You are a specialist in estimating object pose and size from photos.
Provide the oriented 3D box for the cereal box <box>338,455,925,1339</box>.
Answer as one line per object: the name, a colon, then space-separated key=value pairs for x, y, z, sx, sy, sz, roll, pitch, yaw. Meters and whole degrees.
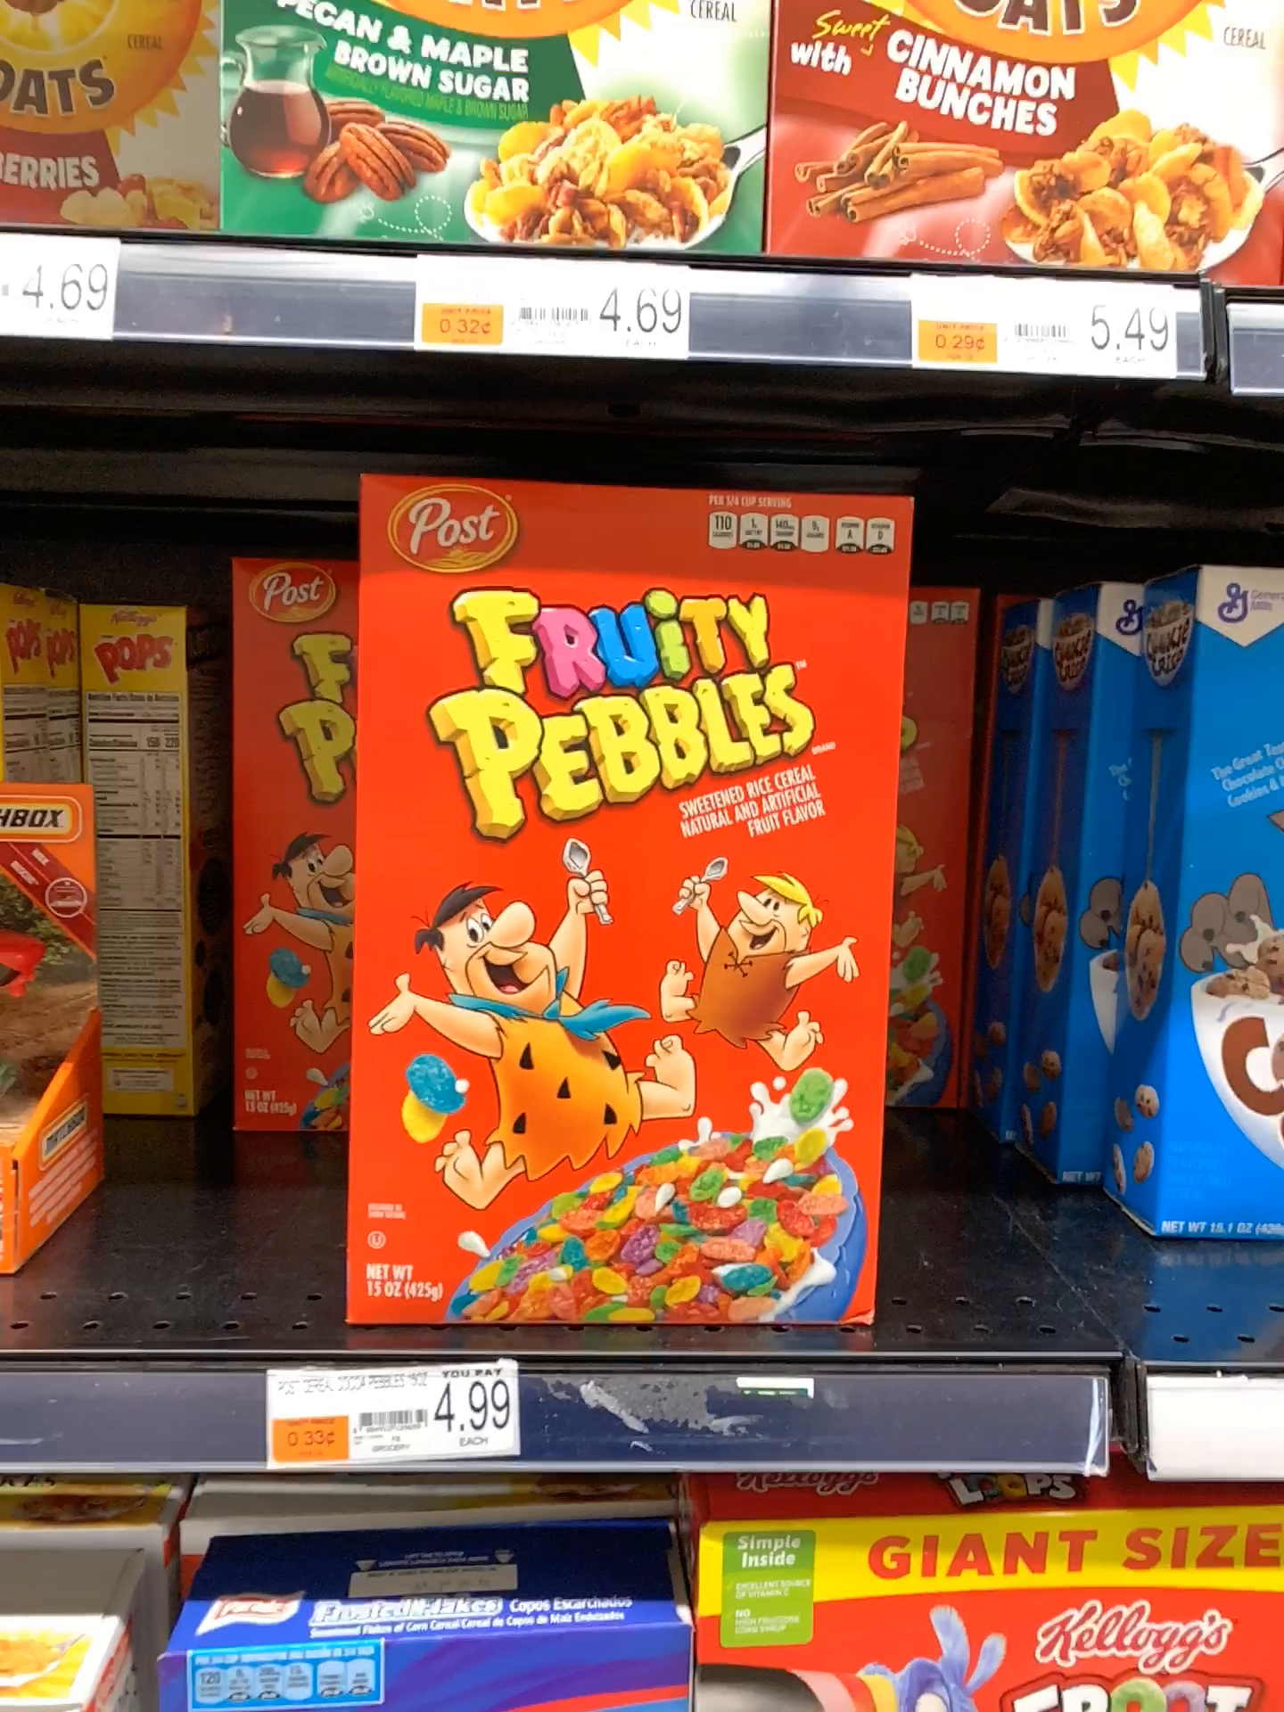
cereal box: x=-0.007 y=0.017 z=0.494 sx=0.200 sy=0.310 sz=0.060 roll=1 pitch=5 yaw=-2
